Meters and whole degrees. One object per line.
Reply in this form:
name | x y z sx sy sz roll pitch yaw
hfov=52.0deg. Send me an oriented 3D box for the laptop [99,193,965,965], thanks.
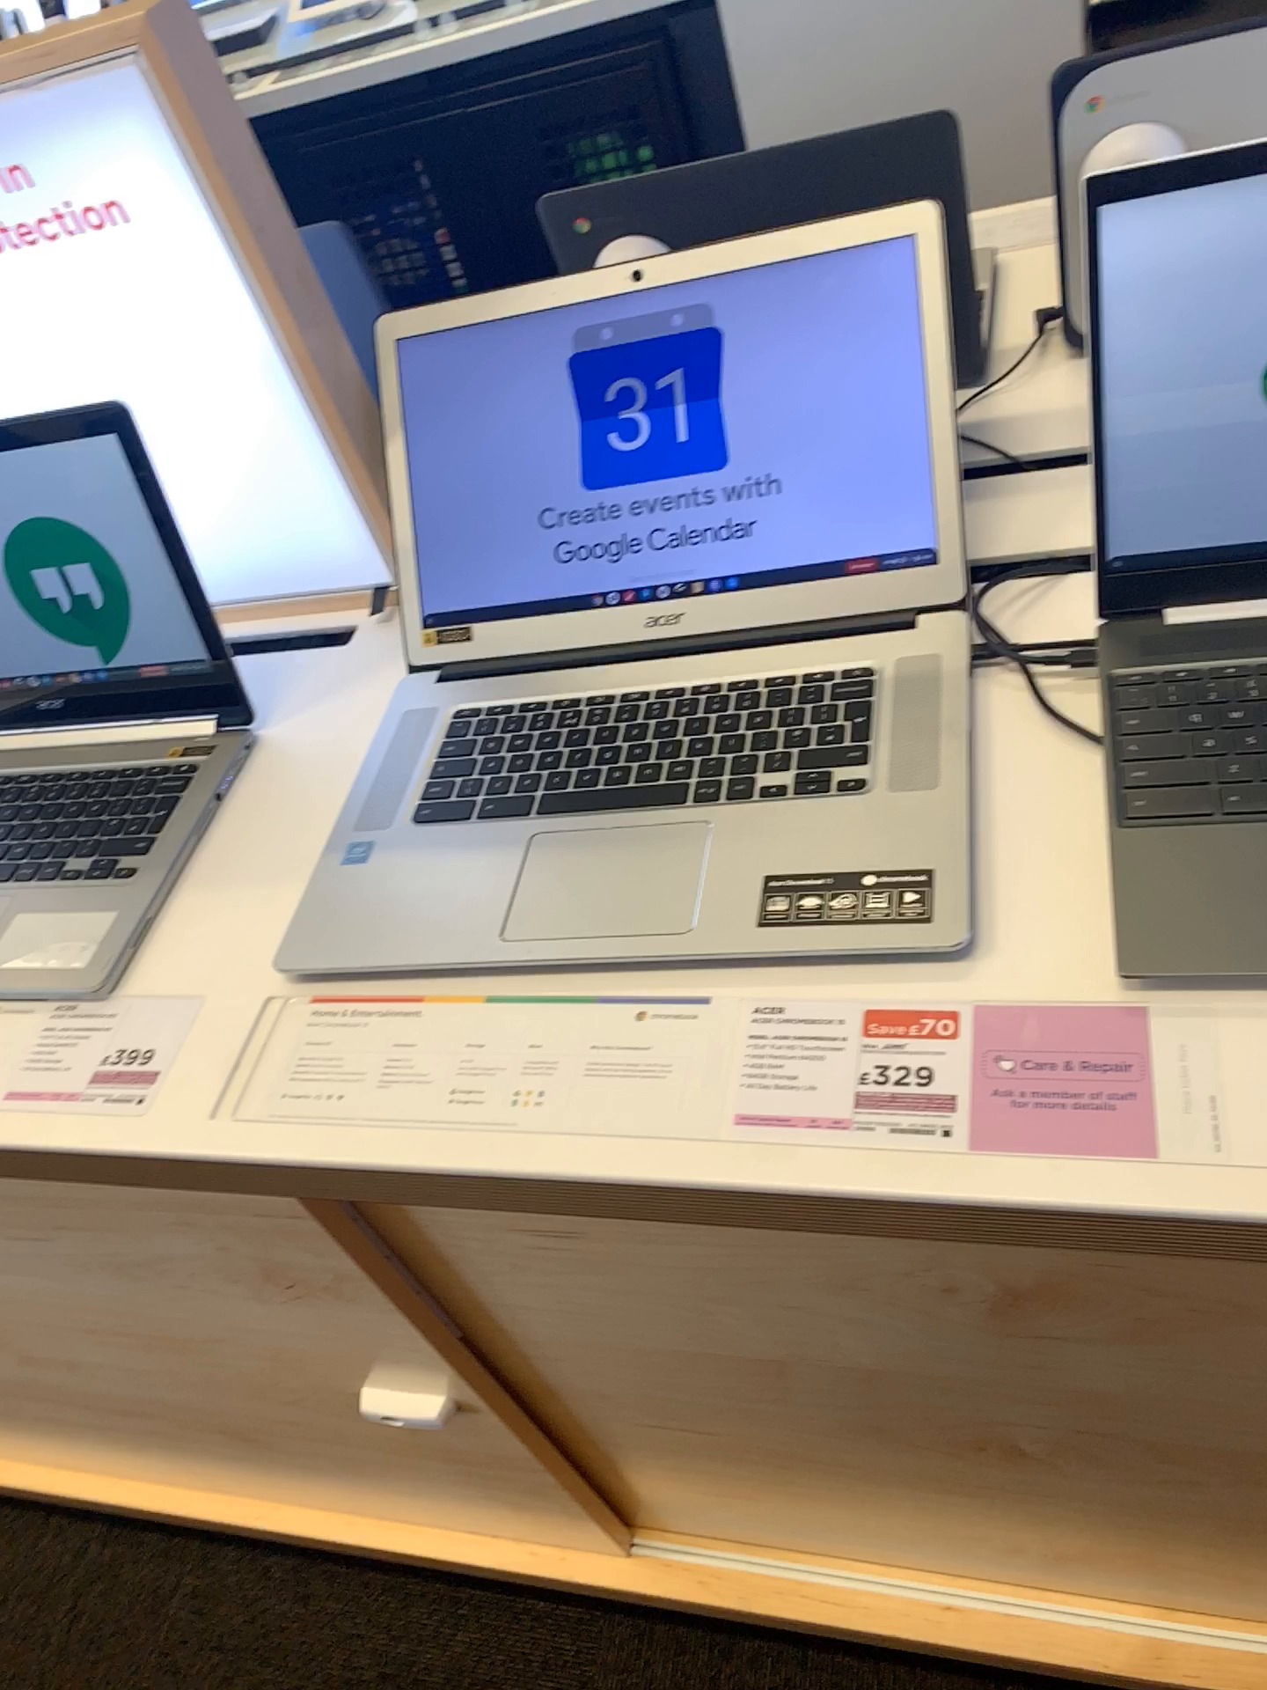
laptop | -0.011 -0.161 0.748 0.375 0.168 0.433 -4 46 18
